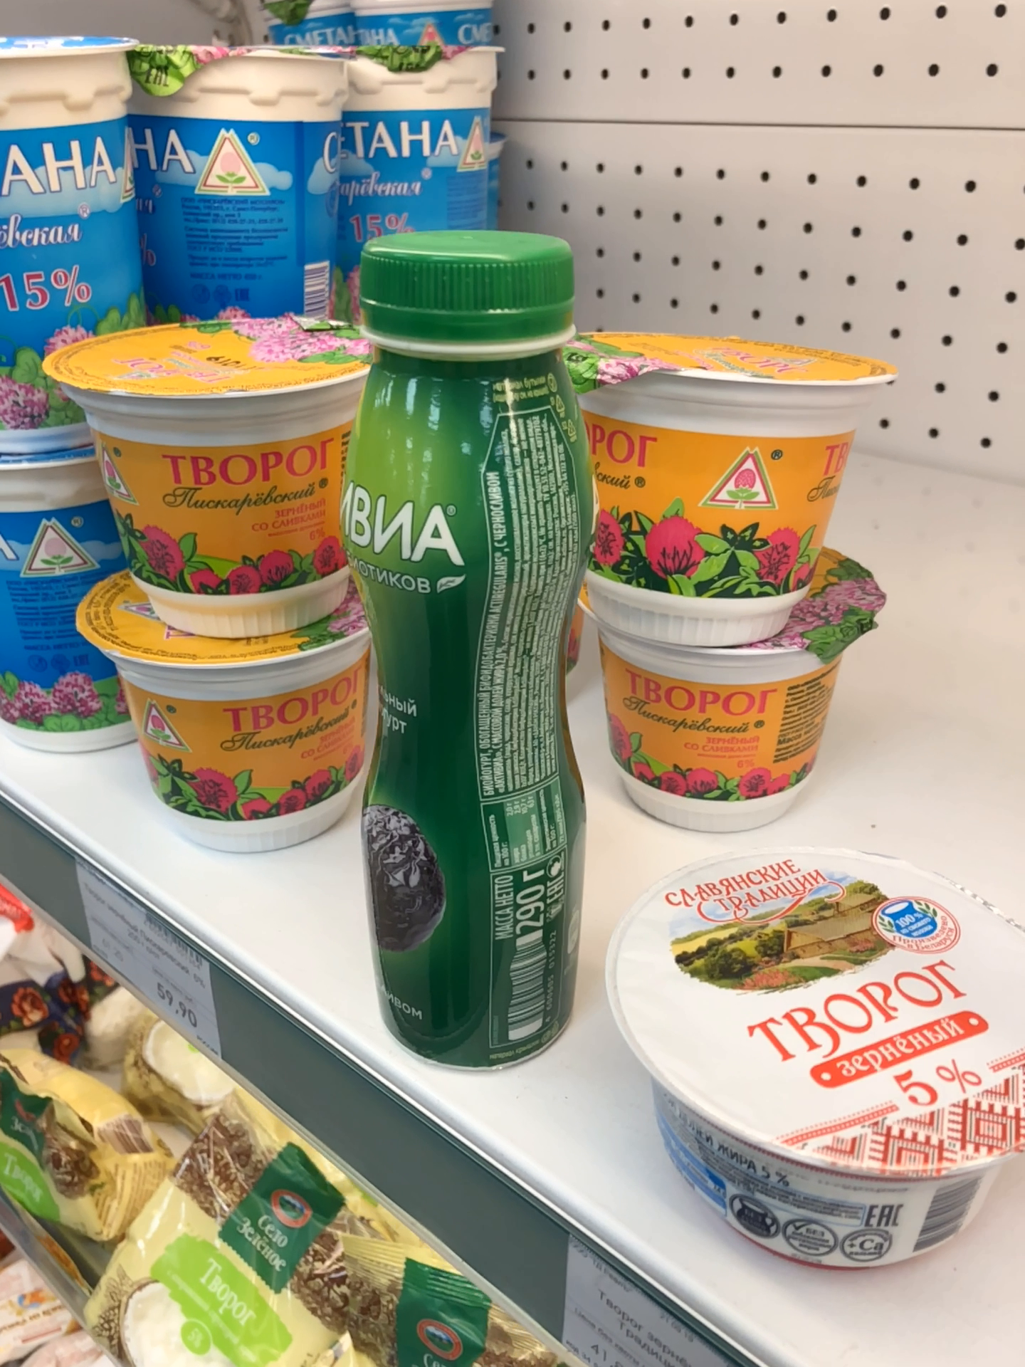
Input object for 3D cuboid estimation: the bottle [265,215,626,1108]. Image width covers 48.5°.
[{"bbox_3d":[-0.012,0.001,0.248,0.054,0.185,0.050,-1,28,1],"label":"bottle"}]
